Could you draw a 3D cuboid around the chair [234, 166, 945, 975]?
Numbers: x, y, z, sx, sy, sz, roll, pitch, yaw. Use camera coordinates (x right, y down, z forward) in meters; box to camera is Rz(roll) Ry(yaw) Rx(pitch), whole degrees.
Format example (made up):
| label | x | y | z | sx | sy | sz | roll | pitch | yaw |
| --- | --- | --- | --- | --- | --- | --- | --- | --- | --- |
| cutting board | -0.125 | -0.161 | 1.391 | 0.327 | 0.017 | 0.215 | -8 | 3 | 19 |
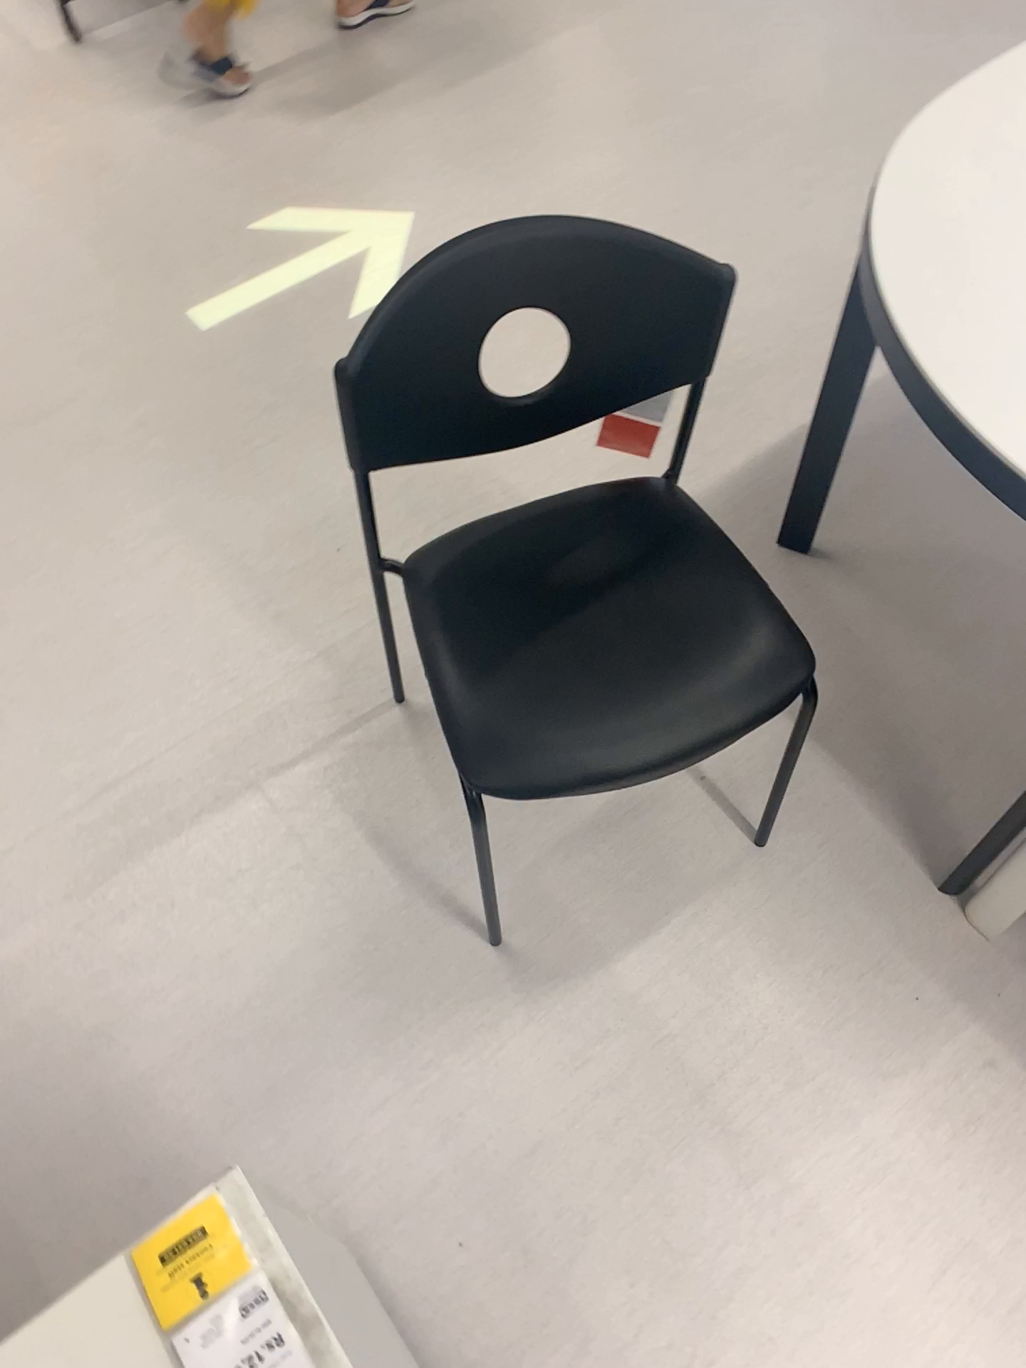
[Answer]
| label | x | y | z | sx | sy | sz | roll | pitch | yaw |
| --- | --- | --- | --- | --- | --- | --- | --- | --- | --- |
| chair | 0.050 | -0.103 | 1.343 | 0.510 | 0.738 | 0.582 | -19 | 58 | -11 |
